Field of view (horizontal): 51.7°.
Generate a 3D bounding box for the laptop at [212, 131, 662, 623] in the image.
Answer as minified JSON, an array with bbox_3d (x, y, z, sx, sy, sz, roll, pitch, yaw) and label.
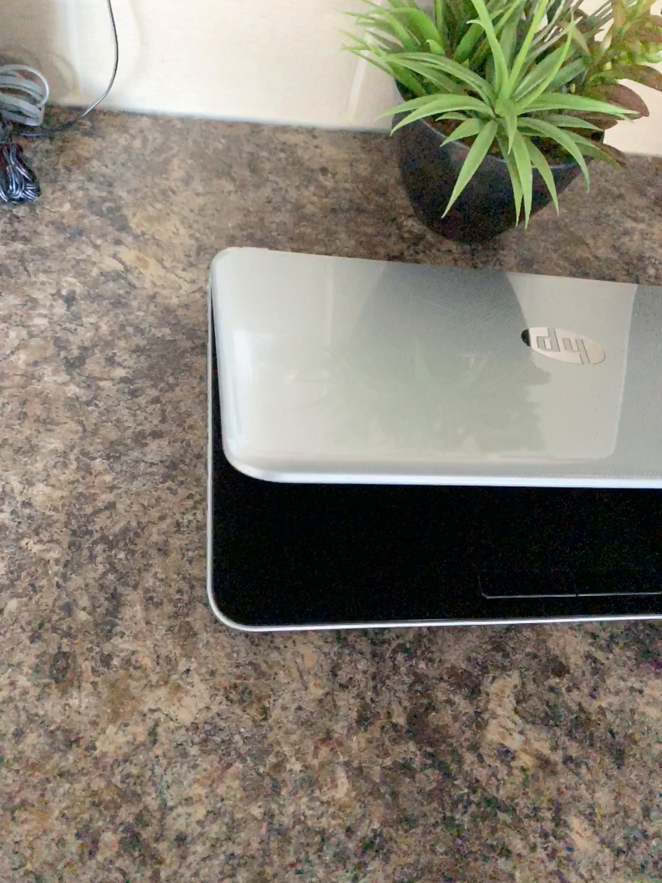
[{"bbox_3d":[0.111,-0.034,0.337,0.328,0.081,0.207,1,57,-13],"label":"laptop"}]
